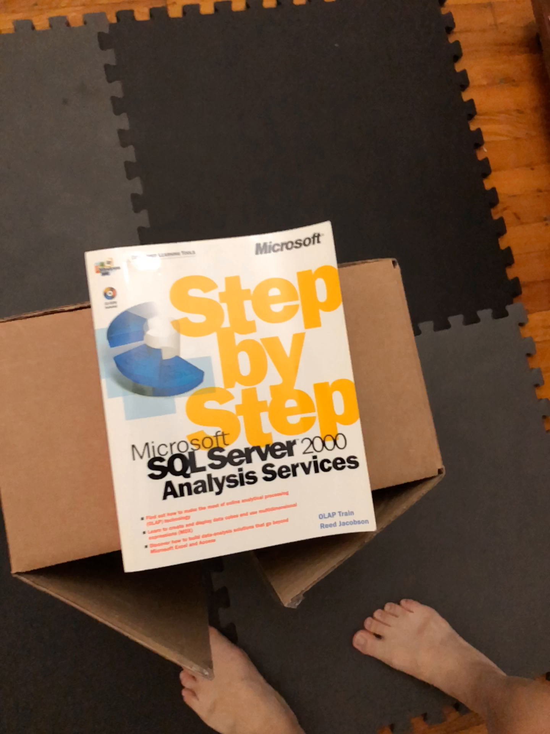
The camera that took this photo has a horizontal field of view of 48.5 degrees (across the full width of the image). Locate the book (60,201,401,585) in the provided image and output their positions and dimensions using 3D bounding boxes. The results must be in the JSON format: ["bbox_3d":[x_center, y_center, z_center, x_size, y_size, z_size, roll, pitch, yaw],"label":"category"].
[{"bbox_3d":[-0.032,0.012,0.470,0.200,0.050,0.240,-13,88,-13],"label":"book"}]
